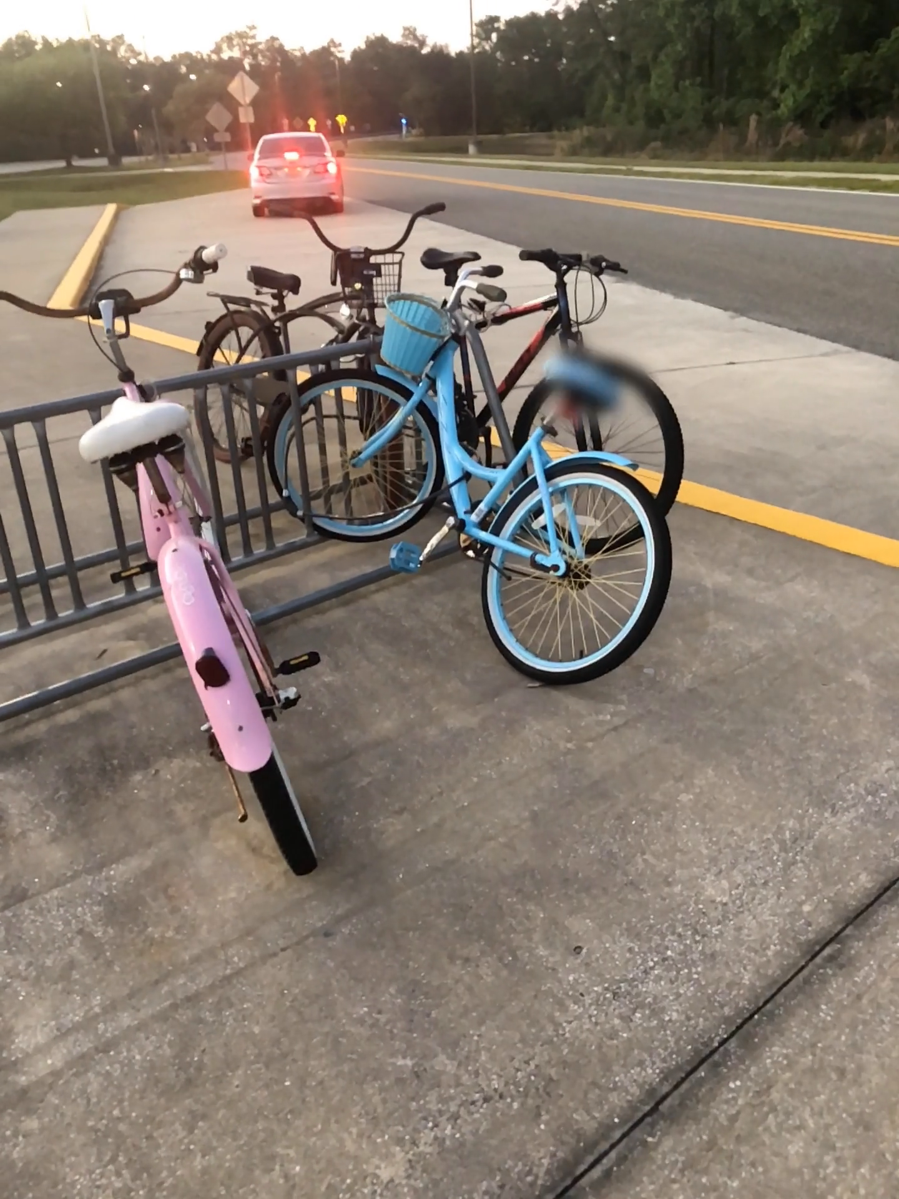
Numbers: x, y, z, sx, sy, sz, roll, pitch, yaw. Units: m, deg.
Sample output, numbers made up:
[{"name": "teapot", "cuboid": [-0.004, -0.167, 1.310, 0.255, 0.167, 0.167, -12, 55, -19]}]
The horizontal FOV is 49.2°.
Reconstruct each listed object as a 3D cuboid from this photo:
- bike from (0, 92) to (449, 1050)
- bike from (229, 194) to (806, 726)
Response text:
[{"name": "bike", "cuboid": [-0.645, -0.302, 2.133, 0.772, 1.146, 1.615, -11, 33, -15]}, {"name": "bike", "cuboid": [0.137, -0.495, 2.805, 1.420, 0.954, 0.585, 27, 38, 37]}]
